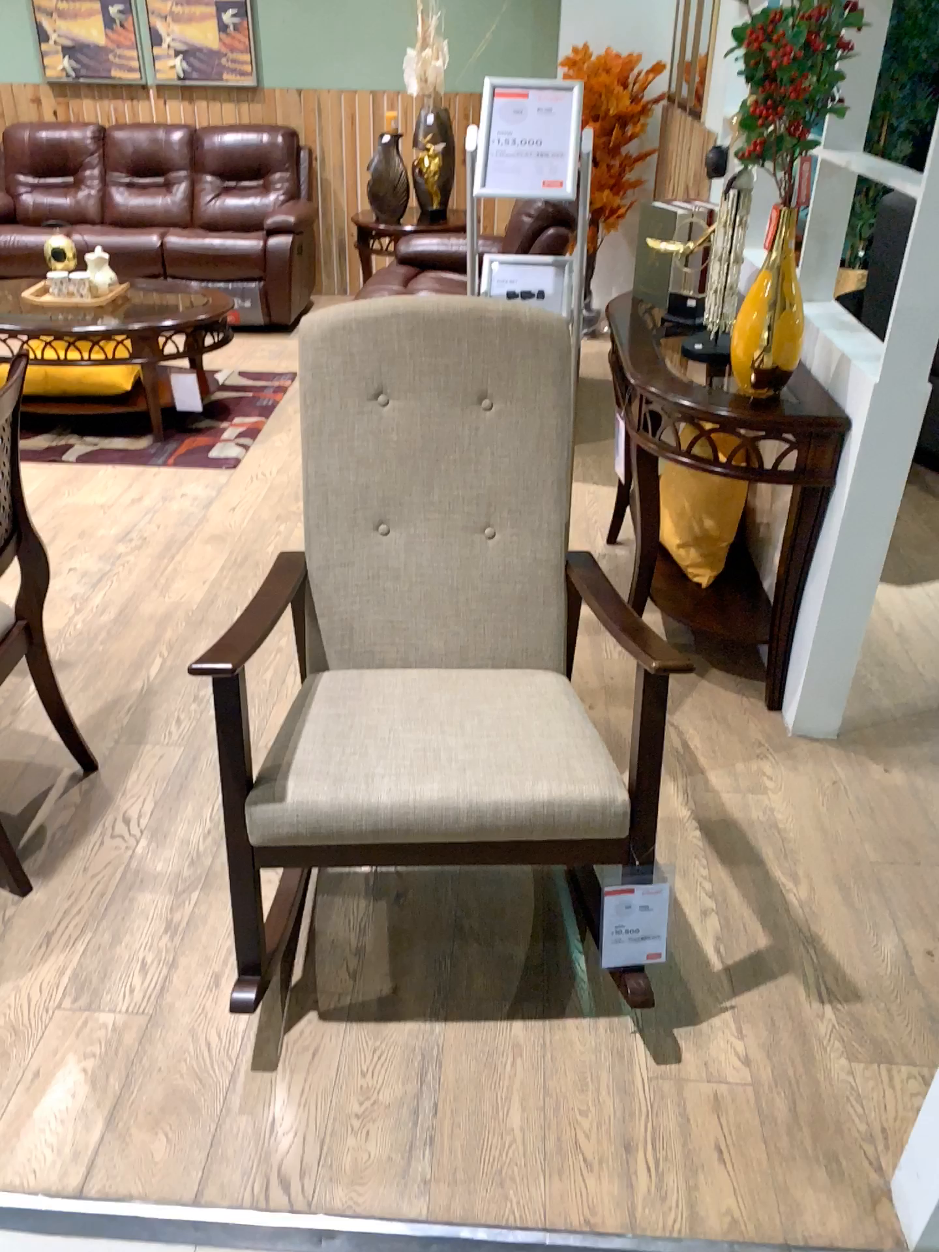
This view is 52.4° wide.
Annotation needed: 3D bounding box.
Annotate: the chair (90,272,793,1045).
[{"bbox_3d":[-0.053,0.002,1.602,0.730,0.976,0.844,-1,31,-3],"label":"chair"}]
